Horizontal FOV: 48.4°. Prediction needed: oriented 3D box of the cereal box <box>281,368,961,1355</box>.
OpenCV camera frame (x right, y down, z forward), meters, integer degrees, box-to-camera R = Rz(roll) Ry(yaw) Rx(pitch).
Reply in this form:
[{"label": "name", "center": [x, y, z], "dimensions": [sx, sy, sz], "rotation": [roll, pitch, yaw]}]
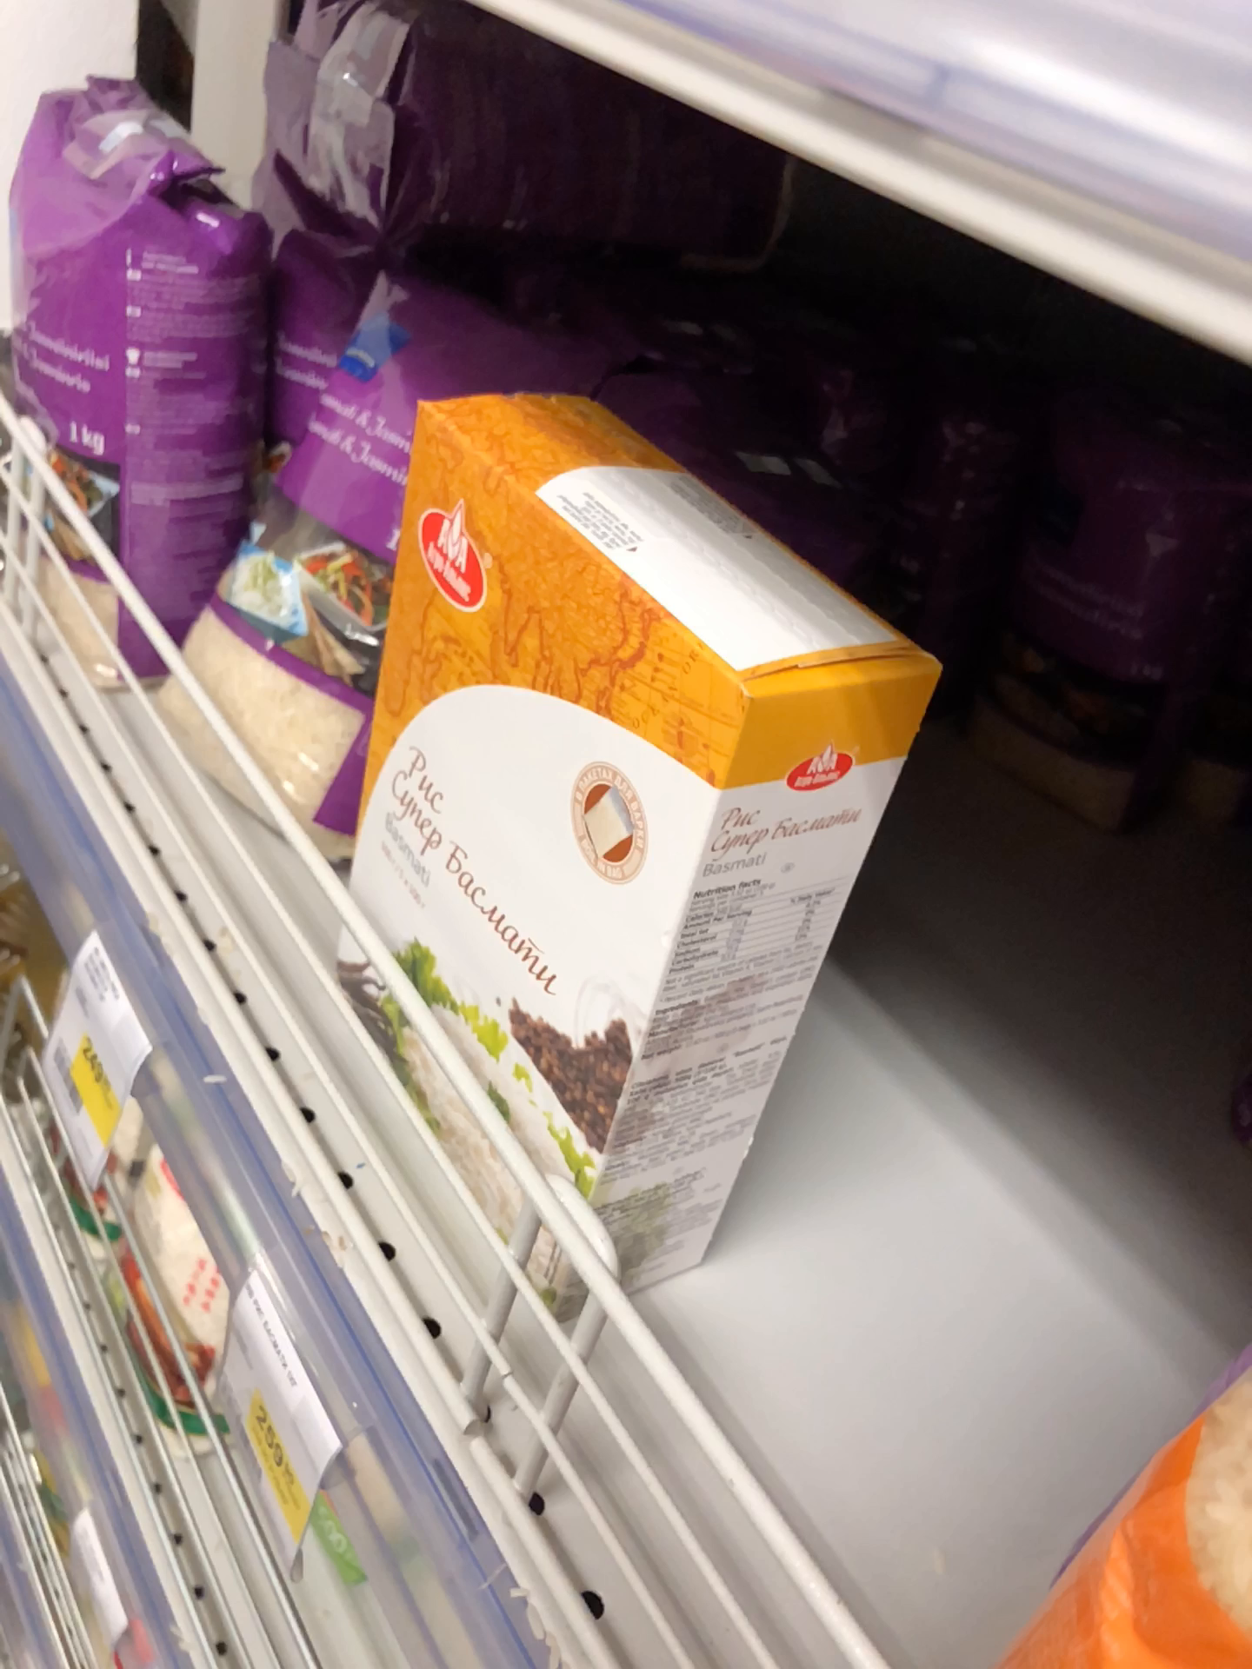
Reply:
[{"label": "cereal box", "center": [-0.020, 0.005, 0.345], "dimensions": [0.060, 0.189, 0.141], "rotation": [-12, 42, -35]}]
